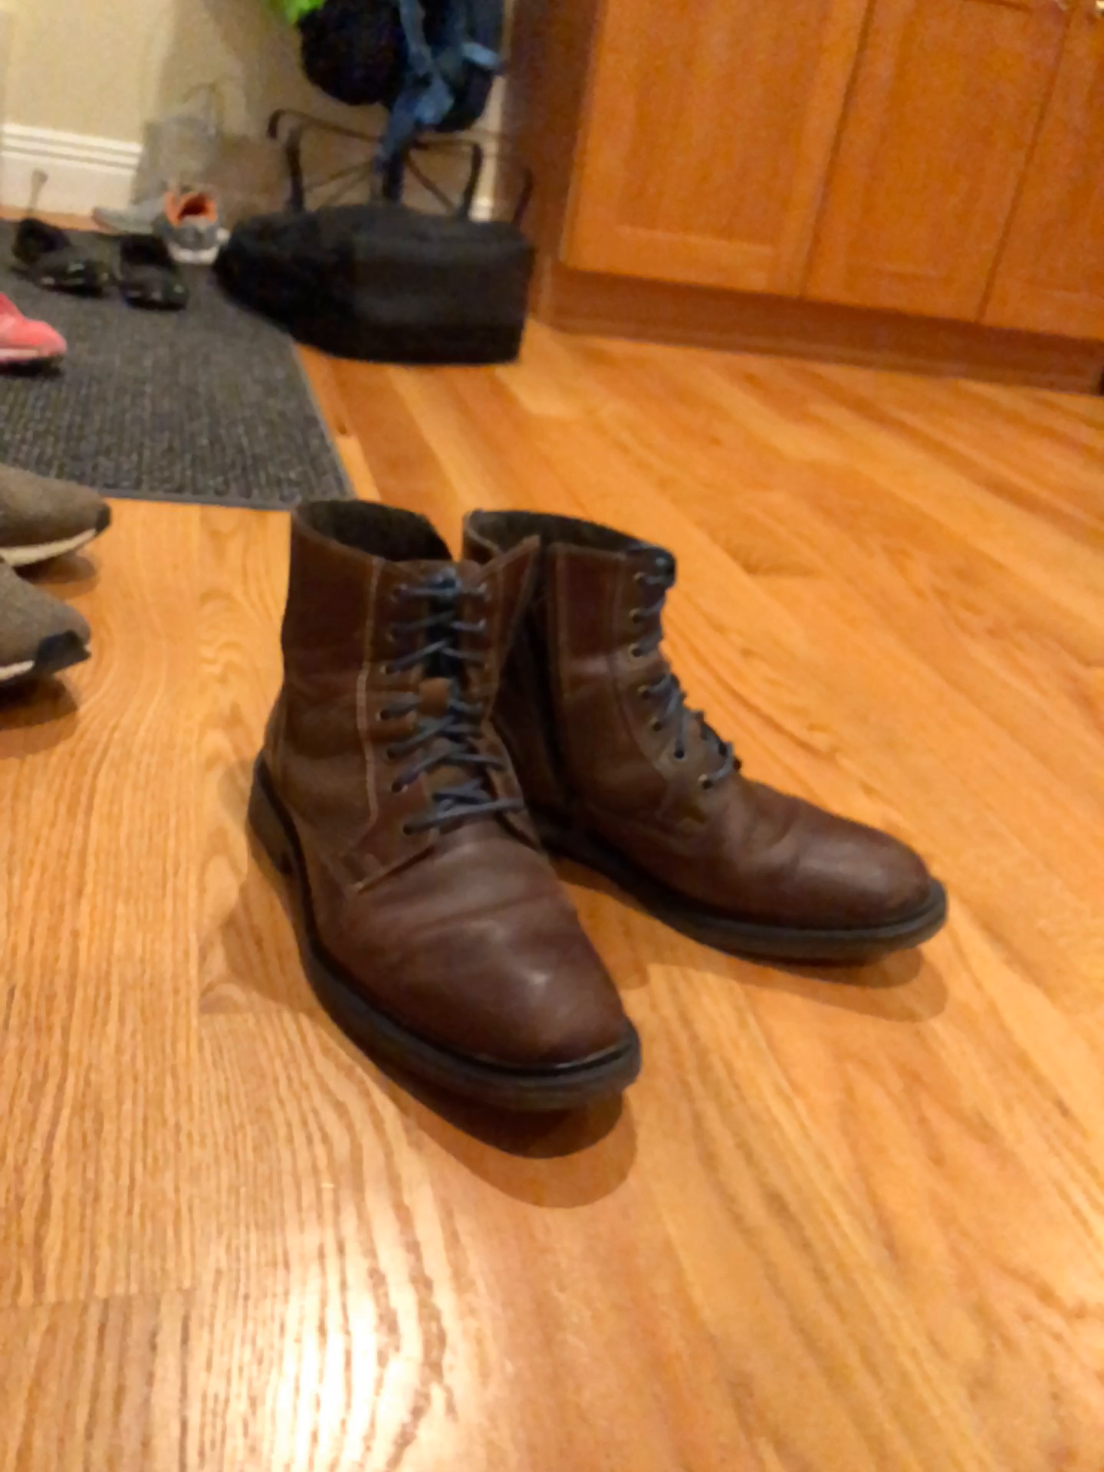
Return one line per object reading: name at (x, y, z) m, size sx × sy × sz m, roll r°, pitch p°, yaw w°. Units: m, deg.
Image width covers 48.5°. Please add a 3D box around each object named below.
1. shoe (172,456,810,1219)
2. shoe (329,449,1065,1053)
shoe at (-0.057, 0.011, 0.520) m, size 0.113 × 0.167 × 0.311 m, roll -8°, pitch 32°, yaw -32°
shoe at (0.063, -0.006, 0.597) m, size 0.303 × 0.176 × 0.129 m, roll 18°, pitch 28°, yaw 15°
